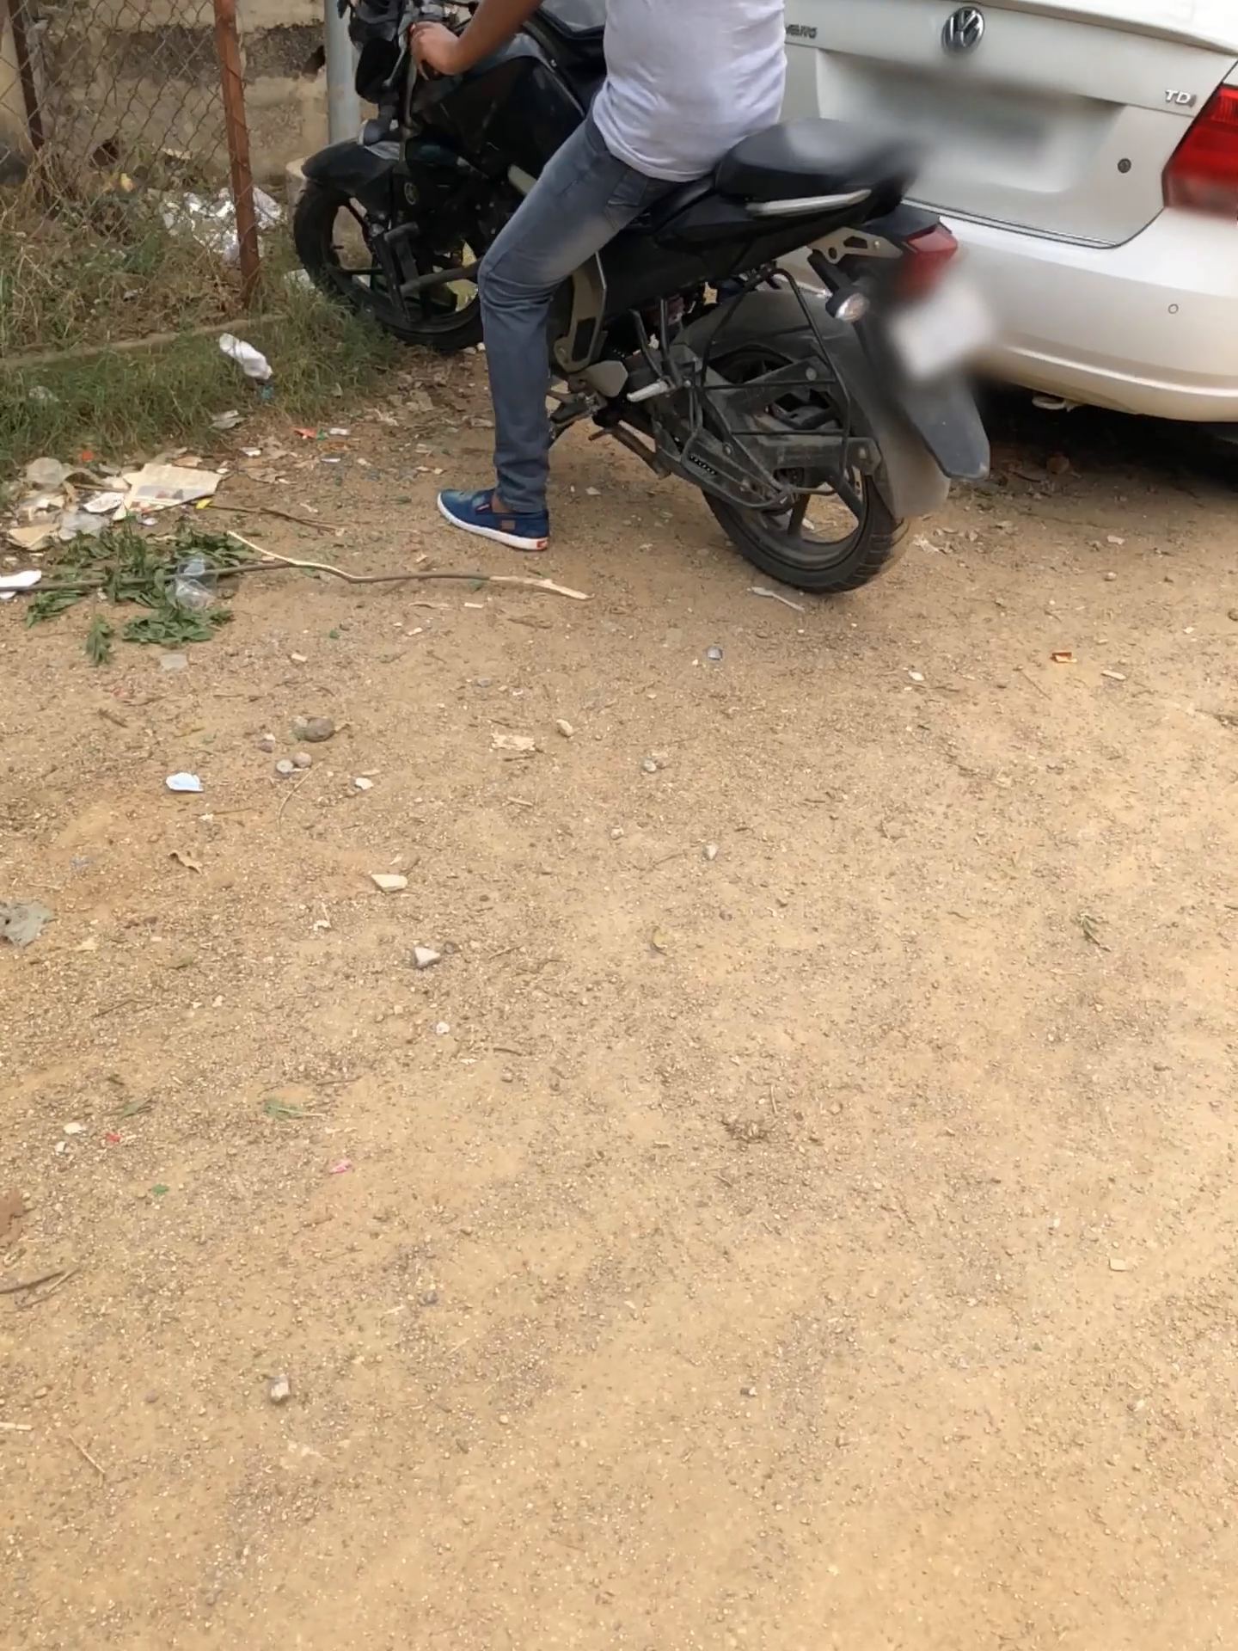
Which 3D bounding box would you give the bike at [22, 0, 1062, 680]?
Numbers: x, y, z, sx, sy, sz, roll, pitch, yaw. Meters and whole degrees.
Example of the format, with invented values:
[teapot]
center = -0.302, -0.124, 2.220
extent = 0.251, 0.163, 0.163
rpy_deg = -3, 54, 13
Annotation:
[bike]
center = -0.210, -1.202, 2.388
extent = 1.619, 1.094, 0.530
rpy_deg = 32, 43, 25
